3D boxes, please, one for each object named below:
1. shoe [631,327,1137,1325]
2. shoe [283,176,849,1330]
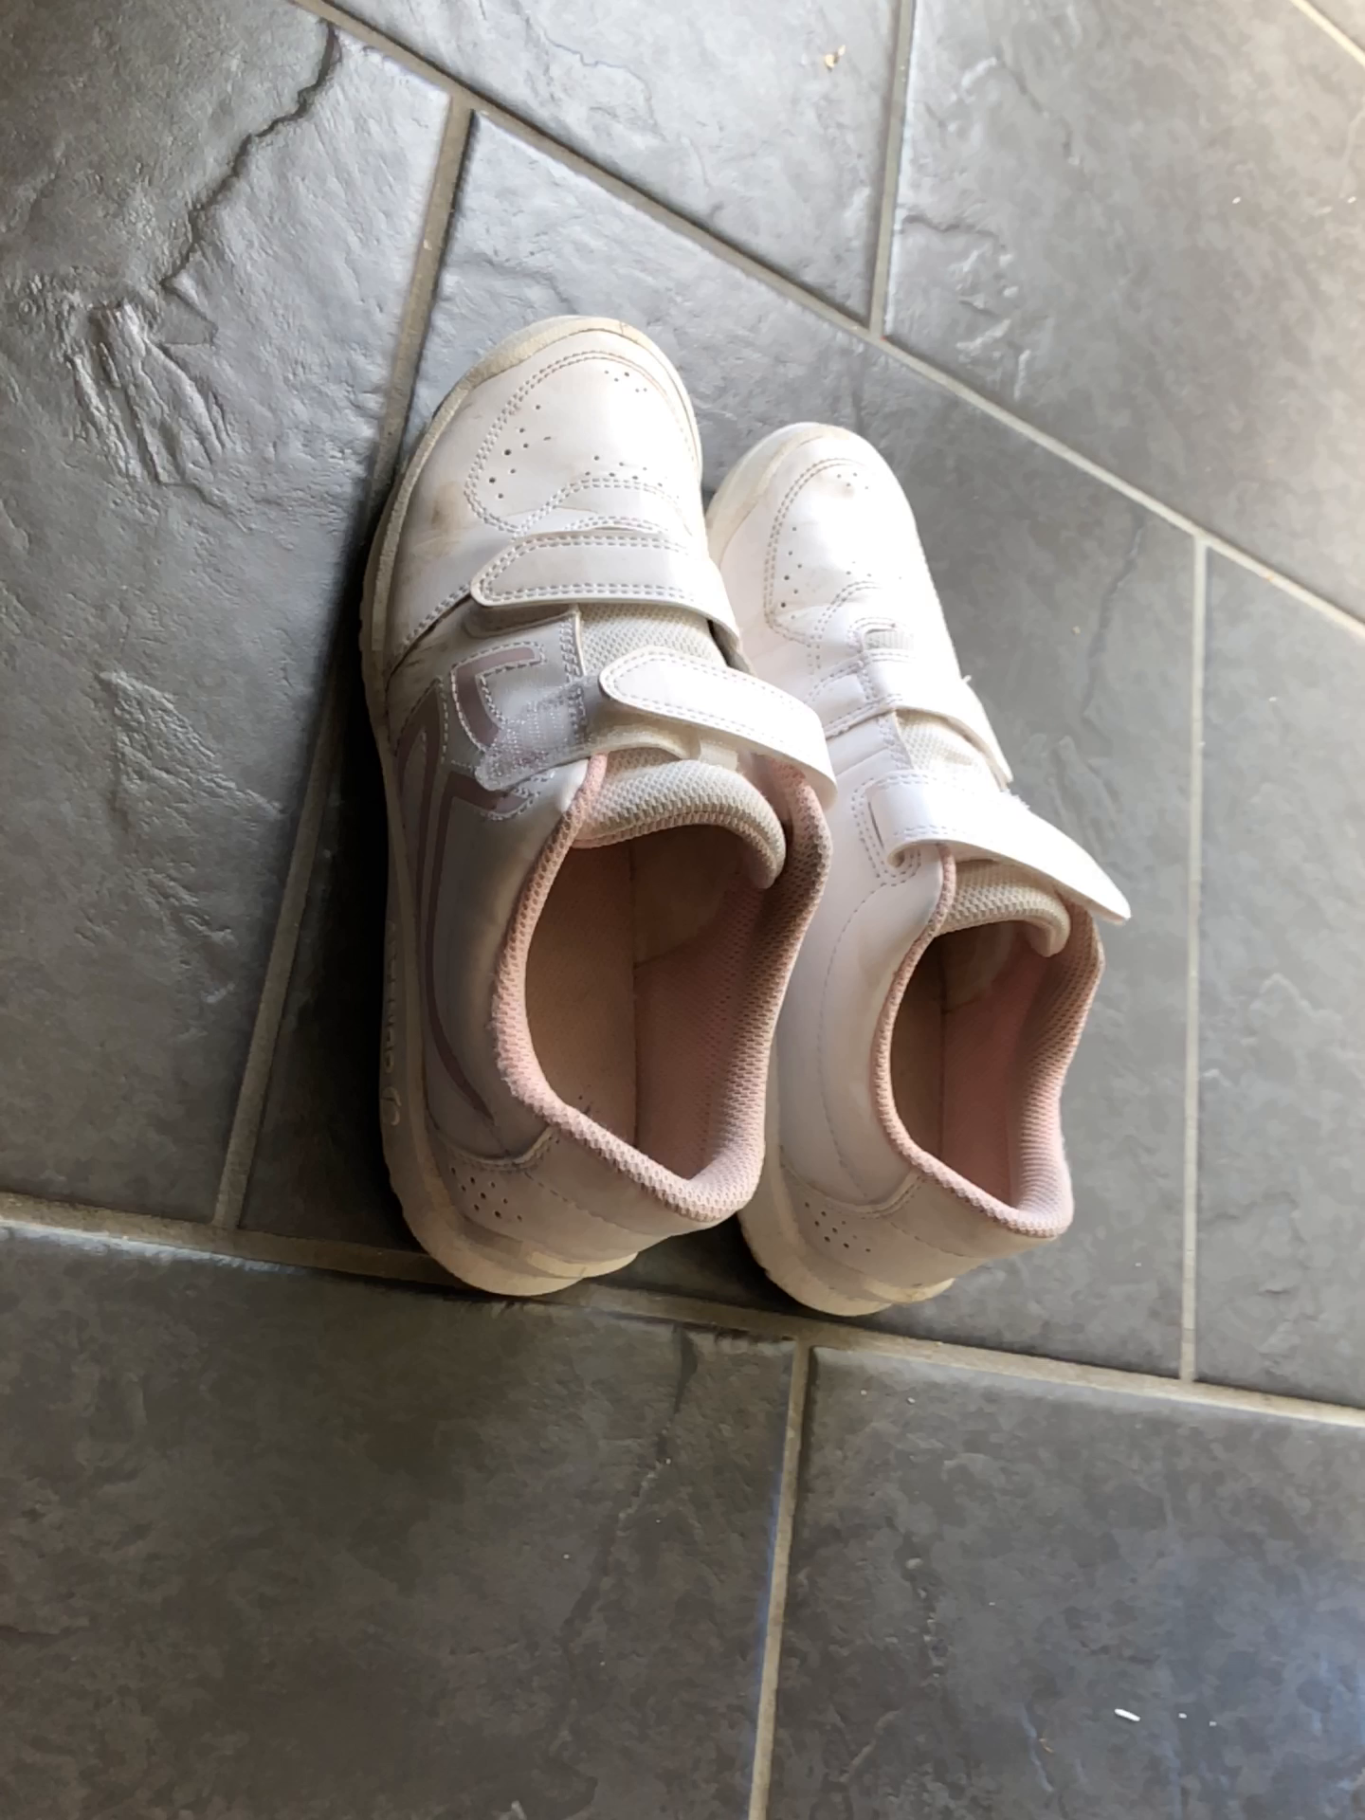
[{"bbox_3d":[0.050,-0.016,0.427,0.096,0.090,0.250,8,74,-33],"label":"shoe"},{"bbox_3d":[-0.025,-0.029,0.372,0.096,0.090,0.250,11,73,-32],"label":"shoe"}]
